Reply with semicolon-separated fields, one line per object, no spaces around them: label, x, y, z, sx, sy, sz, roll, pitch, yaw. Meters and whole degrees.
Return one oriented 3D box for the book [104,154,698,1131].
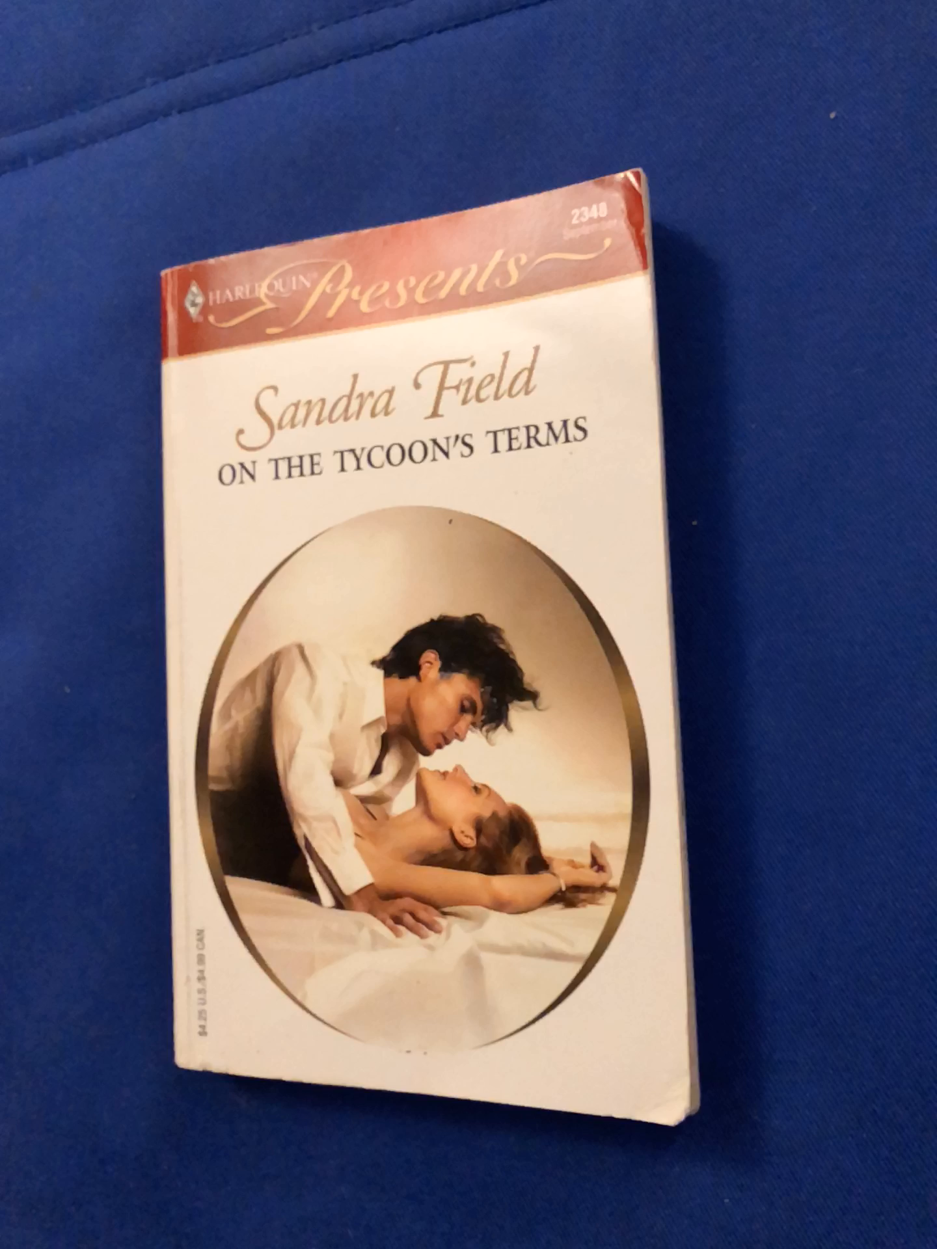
book;-0.017;0.004;0.197;0.107;0.020;0.157;-4;86;21
